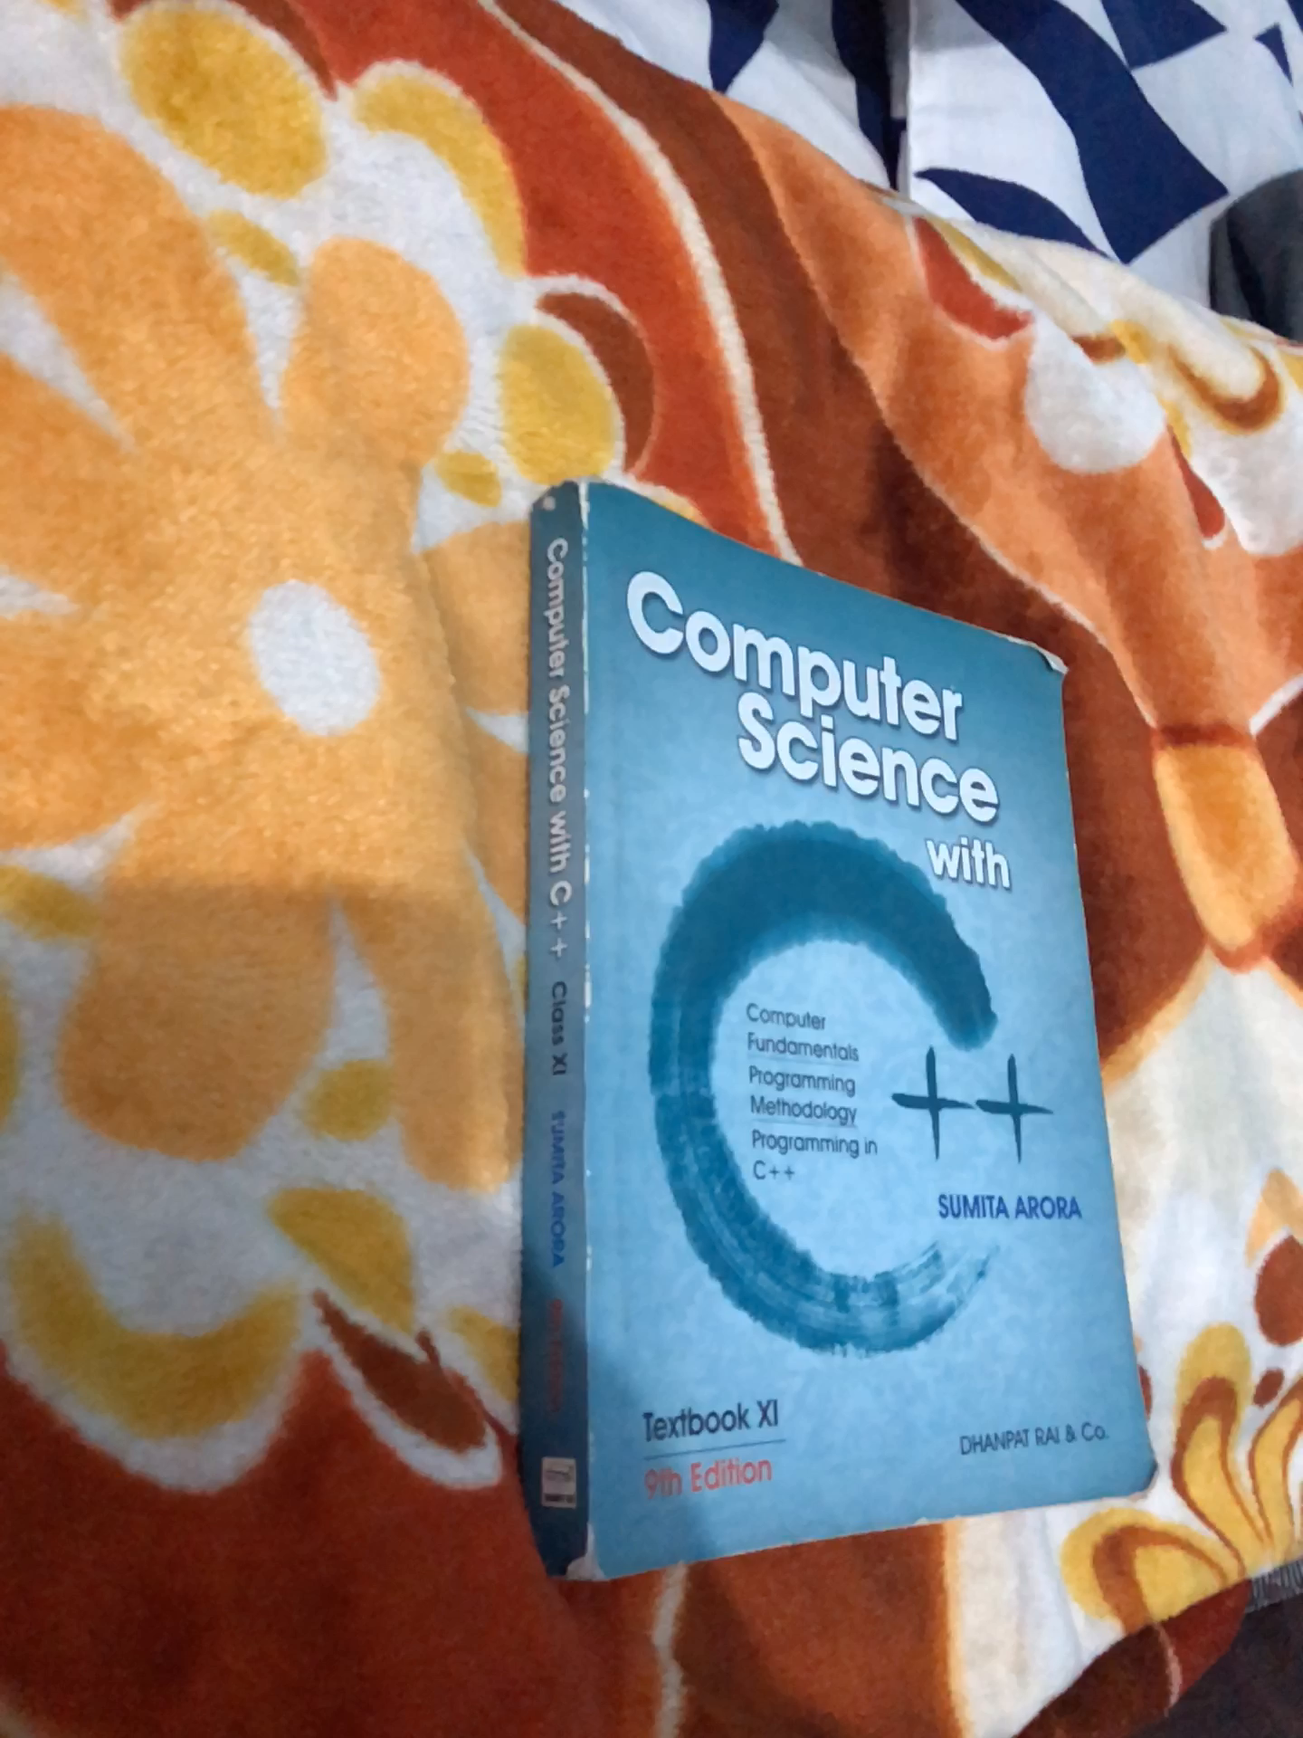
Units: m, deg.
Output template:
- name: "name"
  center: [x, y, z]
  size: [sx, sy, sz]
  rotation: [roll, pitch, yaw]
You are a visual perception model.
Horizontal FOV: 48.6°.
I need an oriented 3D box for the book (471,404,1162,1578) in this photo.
- name: "book"
  center: [0.054, 0.035, 0.407]
  size: [0.211, 0.040, 0.270]
  rotation: [12, 70, -37]
